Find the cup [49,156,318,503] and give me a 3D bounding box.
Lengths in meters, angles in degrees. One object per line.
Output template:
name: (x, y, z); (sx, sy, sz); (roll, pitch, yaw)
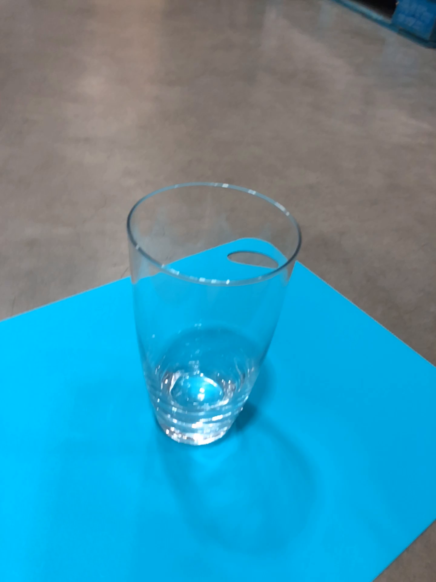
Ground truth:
cup: (-0.018, 0.024, 0.292); (0.100, 0.159, 0.100); (4, 40, -3)
